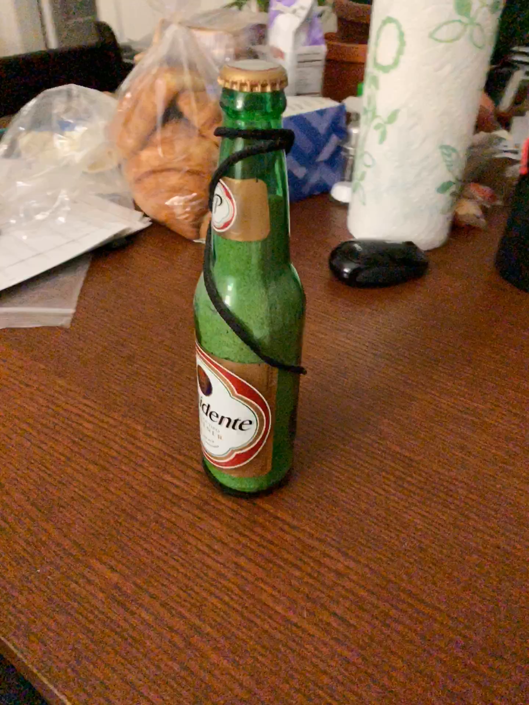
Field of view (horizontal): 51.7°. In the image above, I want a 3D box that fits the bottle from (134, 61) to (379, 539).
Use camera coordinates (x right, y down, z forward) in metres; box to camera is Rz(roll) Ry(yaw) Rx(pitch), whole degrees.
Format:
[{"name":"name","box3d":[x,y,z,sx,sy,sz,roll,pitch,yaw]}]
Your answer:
[{"name":"bottle","box3d":[-0.010,-0.015,0.296,0.070,0.239,0.080,-18,42,-24]}]
